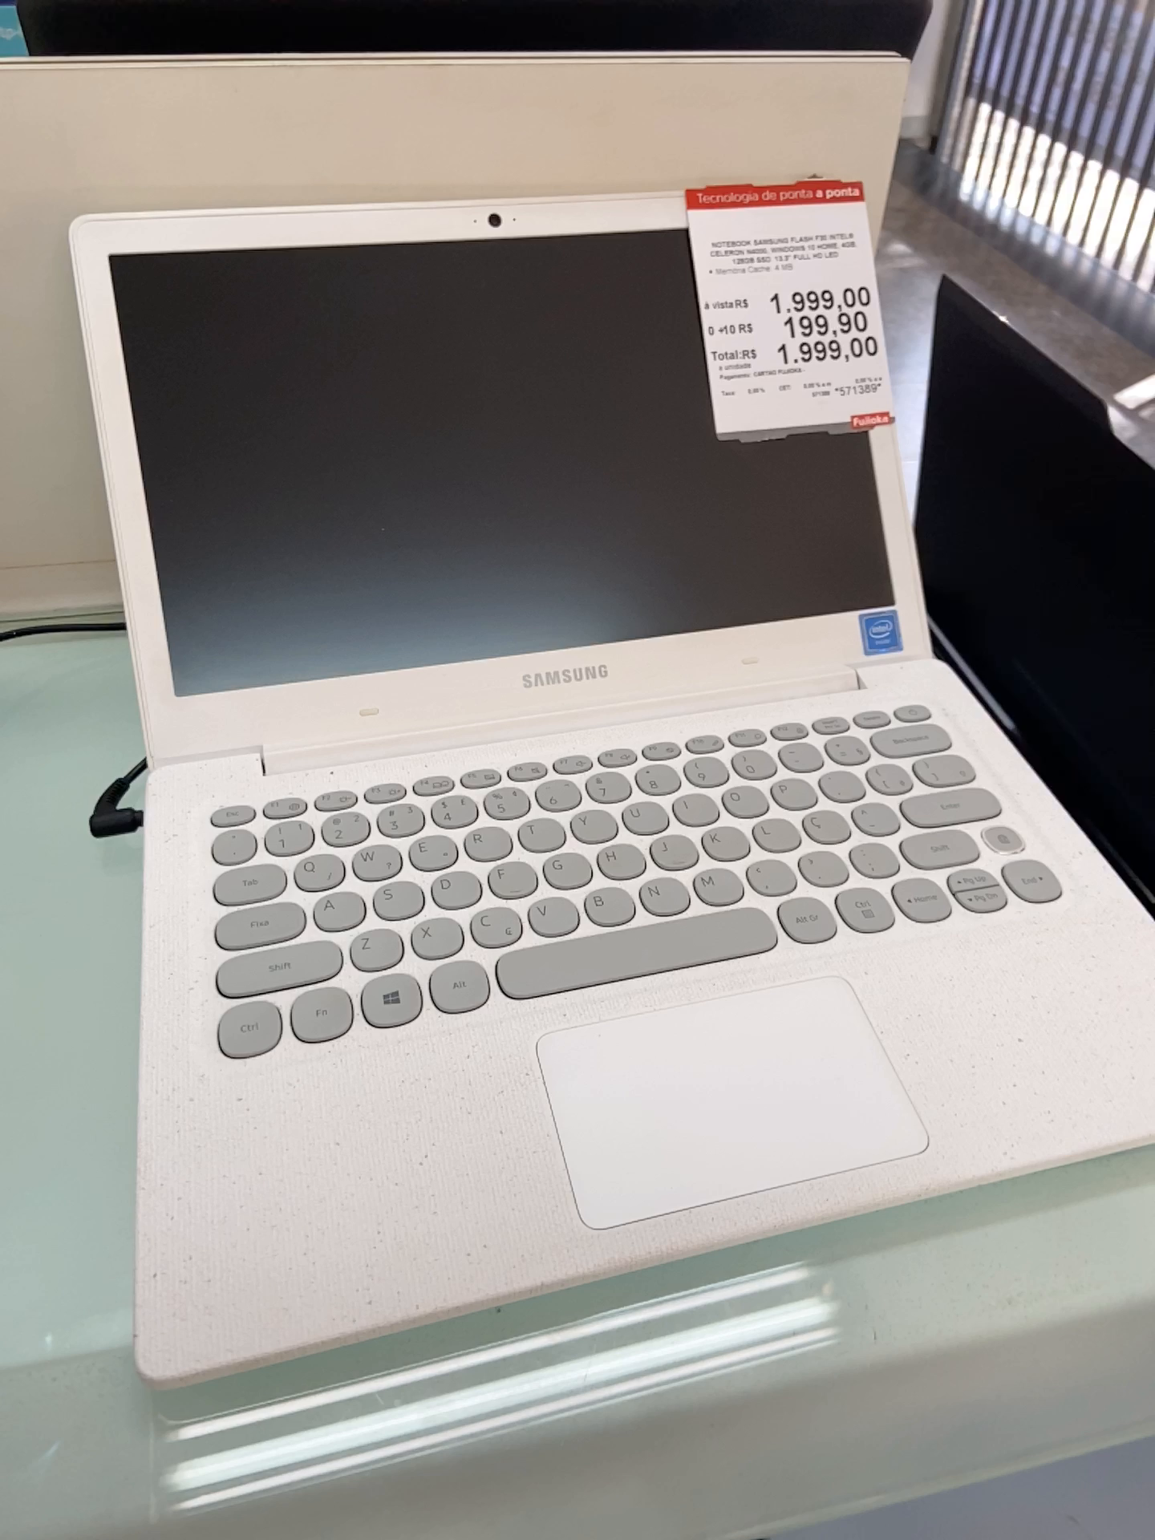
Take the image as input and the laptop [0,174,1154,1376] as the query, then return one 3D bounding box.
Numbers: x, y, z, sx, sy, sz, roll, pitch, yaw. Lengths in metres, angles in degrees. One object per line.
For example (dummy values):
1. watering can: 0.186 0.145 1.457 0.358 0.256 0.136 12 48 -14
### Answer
1. laptop: 0.008 -0.057 0.390 0.314 0.140 0.362 -8 44 -12
